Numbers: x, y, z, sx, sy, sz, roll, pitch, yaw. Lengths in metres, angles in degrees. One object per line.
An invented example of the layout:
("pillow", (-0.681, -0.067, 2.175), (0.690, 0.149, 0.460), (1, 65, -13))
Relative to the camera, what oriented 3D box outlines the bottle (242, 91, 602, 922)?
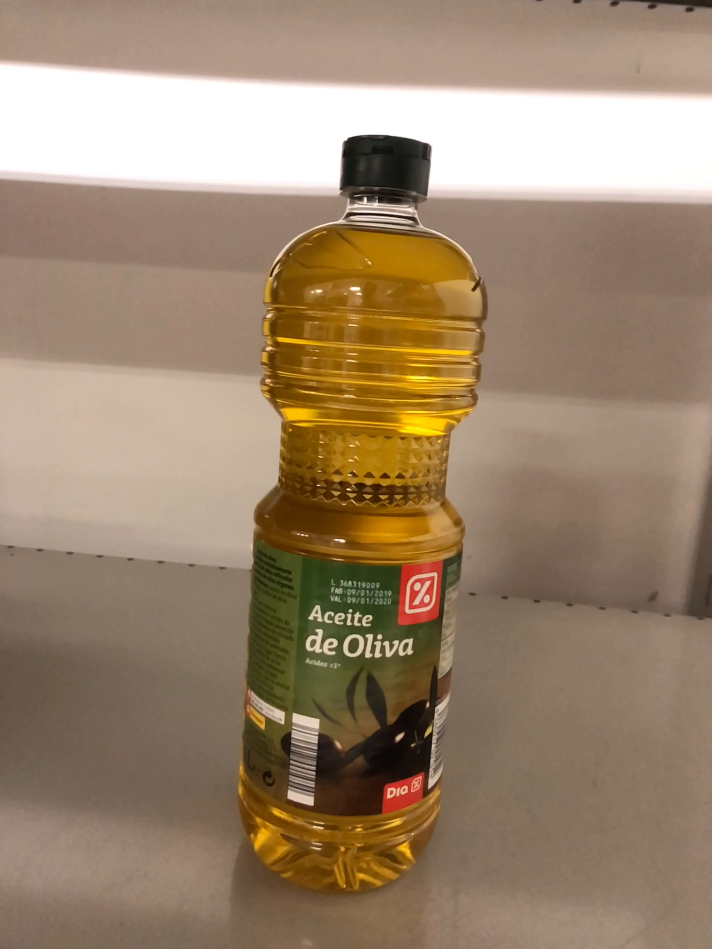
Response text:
("bottle", (0.012, 0.017, 0.267), (0.080, 0.249, 0.060), (3, 12, -14))
